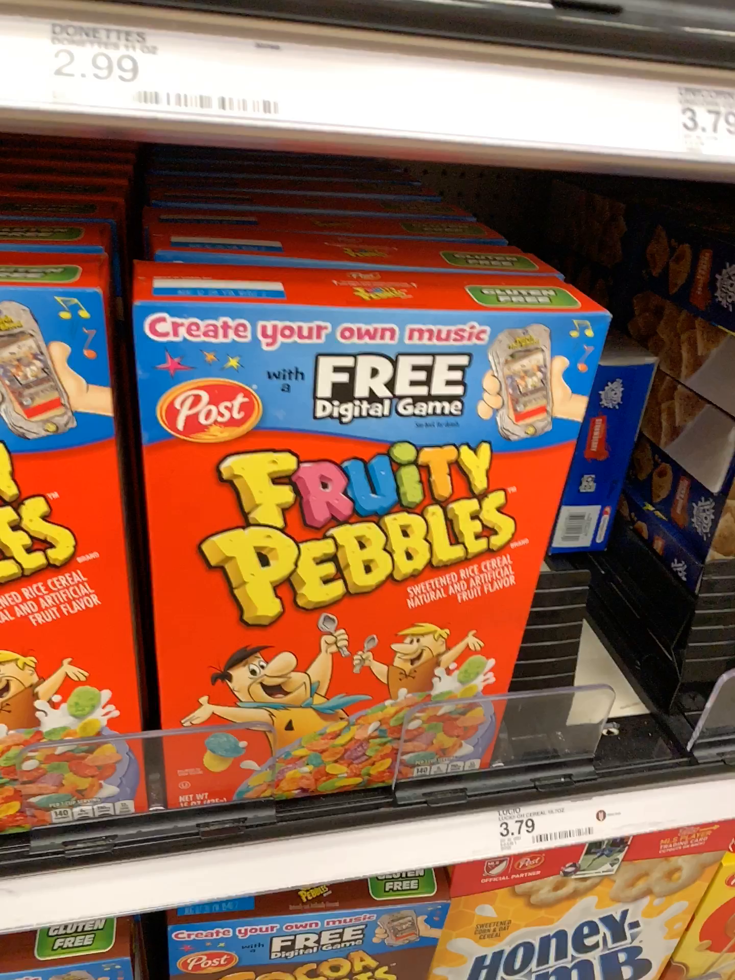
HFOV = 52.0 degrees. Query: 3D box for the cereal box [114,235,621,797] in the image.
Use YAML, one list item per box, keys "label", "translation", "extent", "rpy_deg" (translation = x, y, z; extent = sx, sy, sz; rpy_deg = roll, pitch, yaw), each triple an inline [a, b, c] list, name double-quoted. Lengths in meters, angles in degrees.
- label: "cereal box"
  translation: [-0.011, 0.028, 0.390]
  extent: [0.200, 0.289, 0.060]
  rpy_deg: [-2, 32, -13]
